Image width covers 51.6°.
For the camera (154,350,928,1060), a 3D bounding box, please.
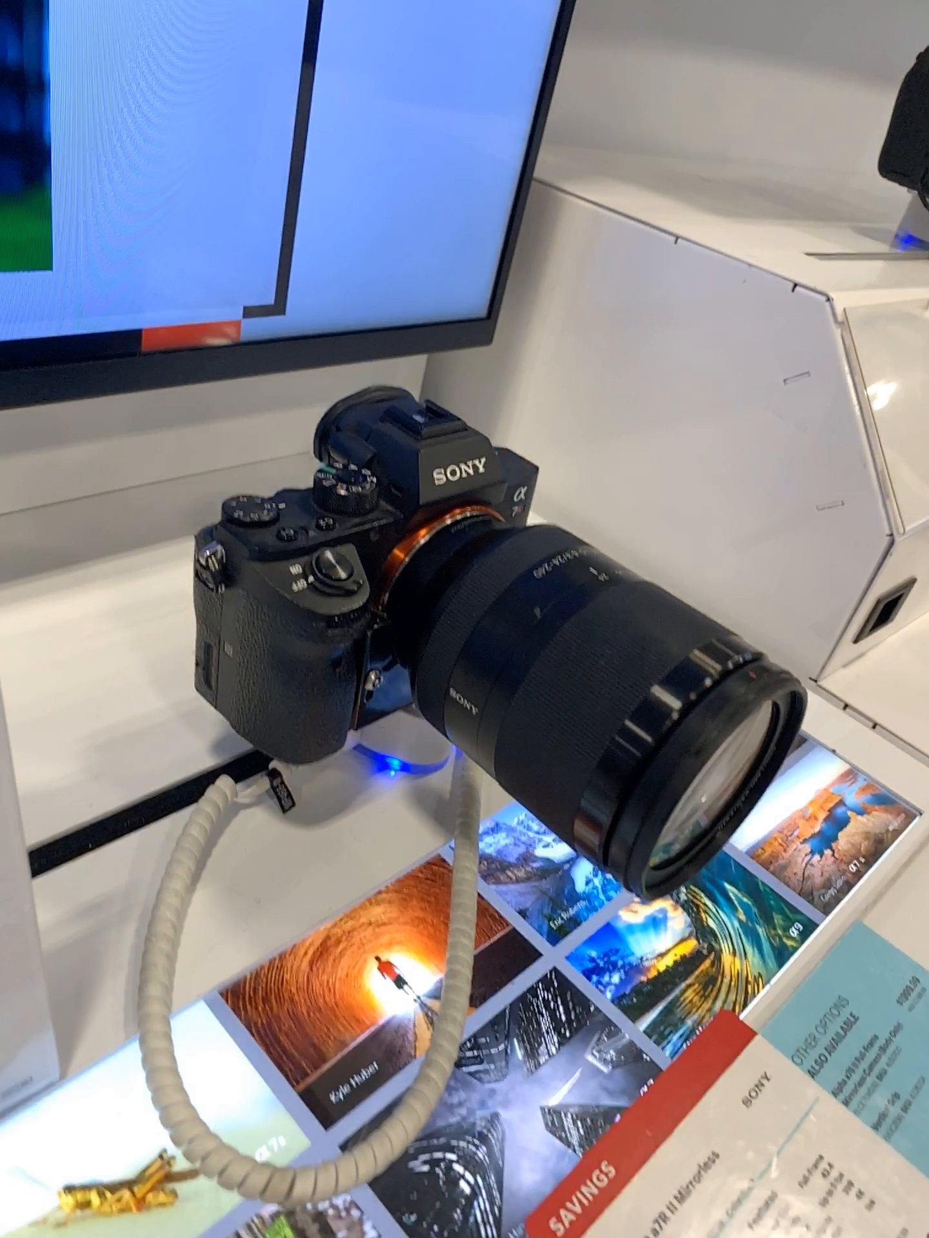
[{"bbox_3d":[0.016,0.004,0.296,0.184,0.091,0.129,35,39,27],"label":"camera"}]
